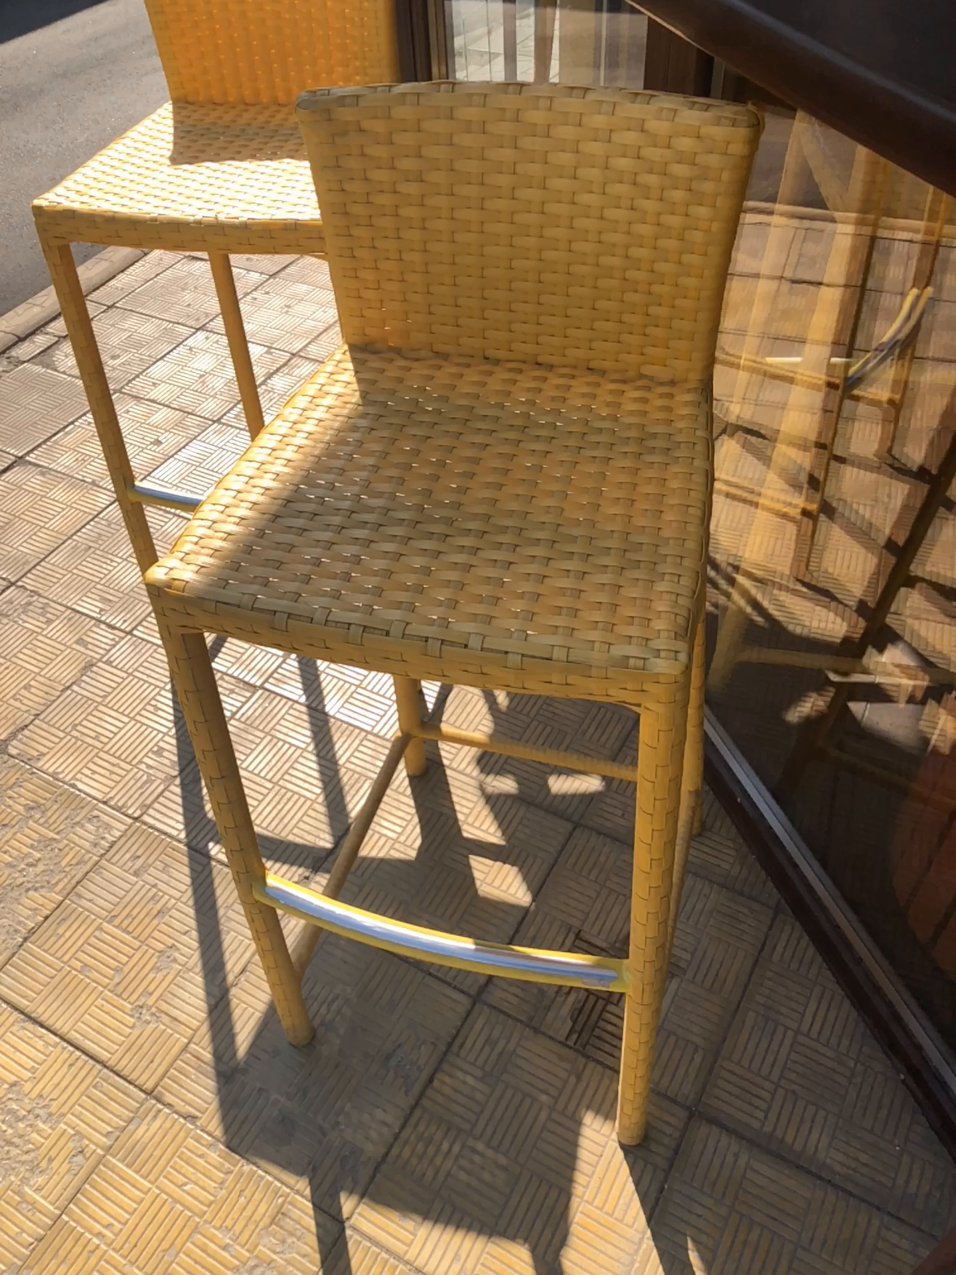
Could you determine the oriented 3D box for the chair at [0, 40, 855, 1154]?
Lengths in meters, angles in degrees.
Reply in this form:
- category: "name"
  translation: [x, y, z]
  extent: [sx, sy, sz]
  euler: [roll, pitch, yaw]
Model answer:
- category: "chair"
  translation: [0.004, 0.015, 1.034]
  extent: [0.480, 0.916, 0.522]
  euler: [11, 48, 13]
